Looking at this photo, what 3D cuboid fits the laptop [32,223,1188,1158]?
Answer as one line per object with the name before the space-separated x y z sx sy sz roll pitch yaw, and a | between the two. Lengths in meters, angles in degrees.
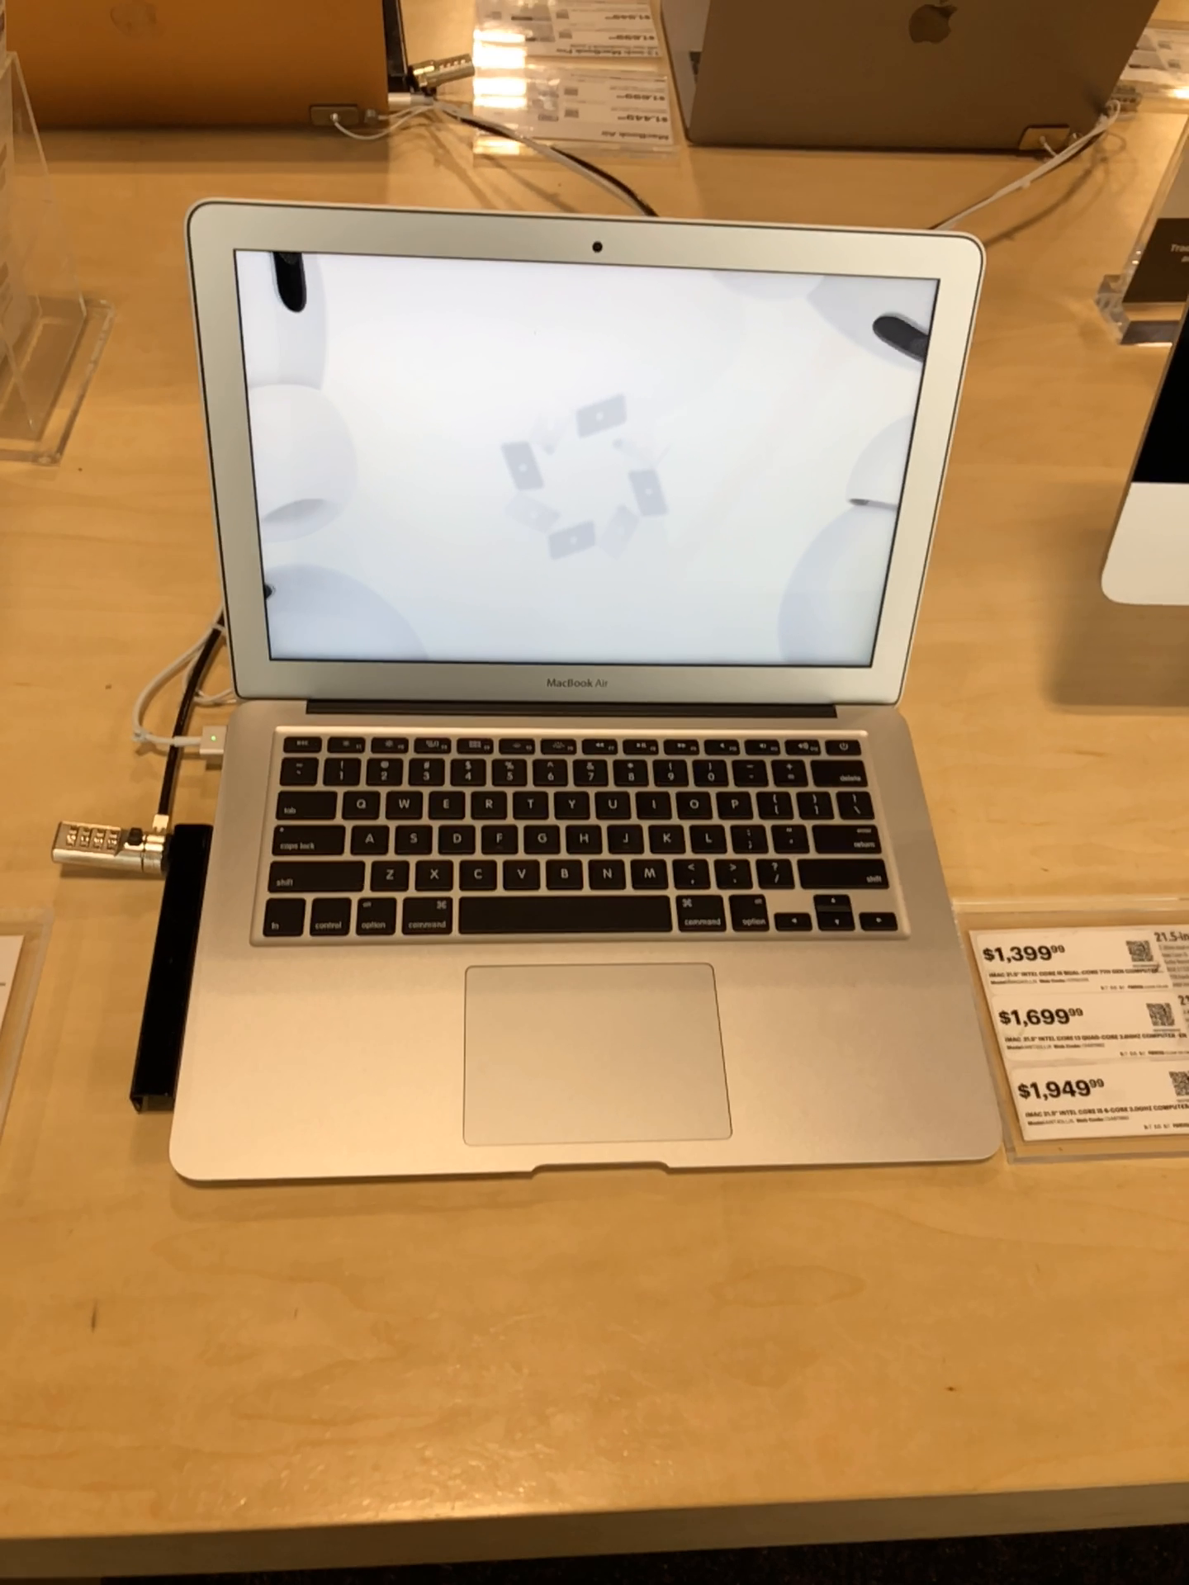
laptop | 0.003 -0.044 0.522 0.323 0.202 0.310 0 54 -3
